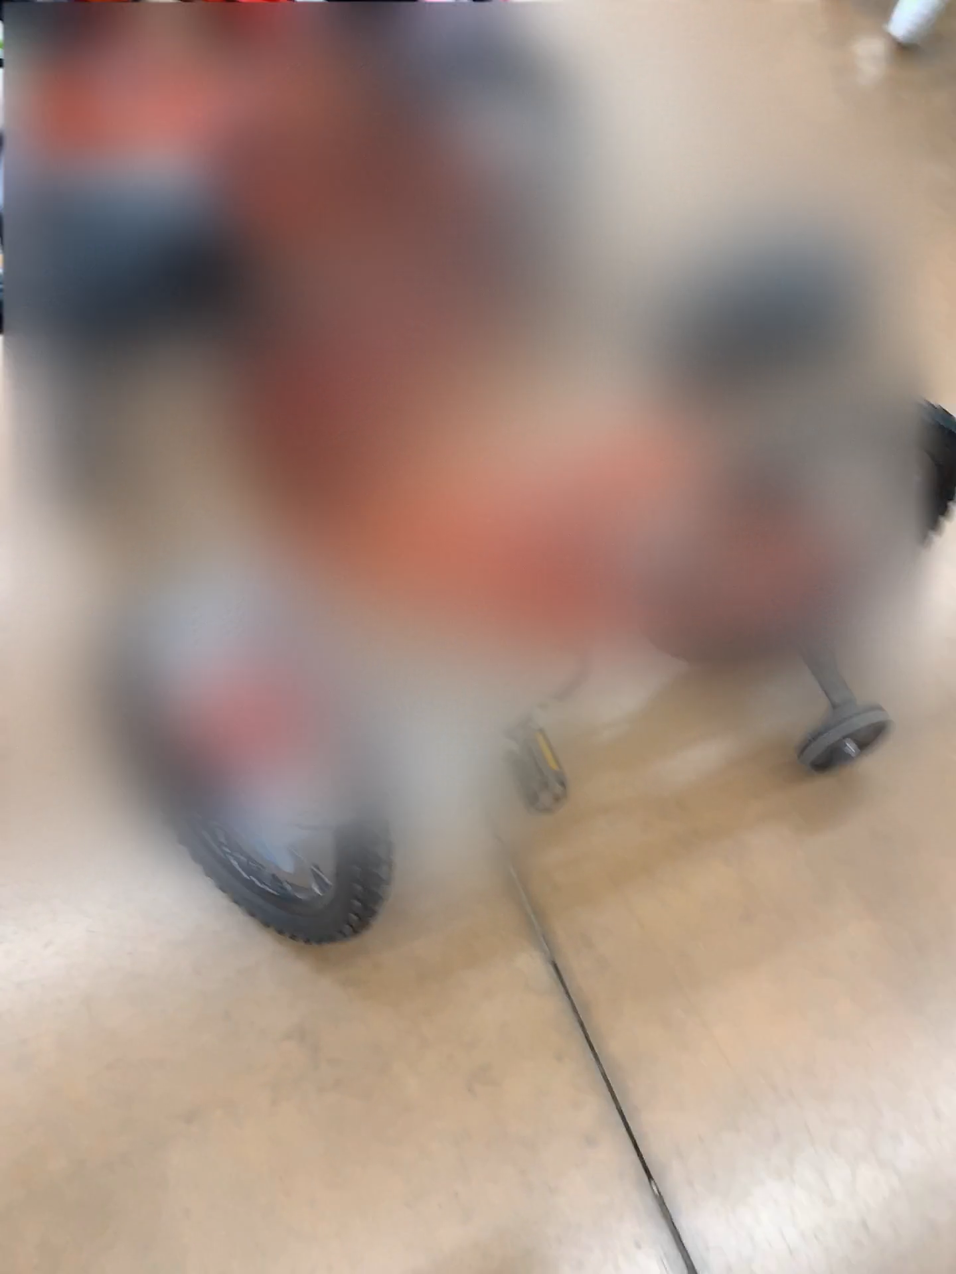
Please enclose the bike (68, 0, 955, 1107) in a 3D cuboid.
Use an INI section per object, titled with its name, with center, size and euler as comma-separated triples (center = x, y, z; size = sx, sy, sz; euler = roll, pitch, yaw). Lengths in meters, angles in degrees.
[bike]
center = 0.143, -0.097, 0.958
size = 0.740, 0.824, 0.511
euler = -32, 58, -11
